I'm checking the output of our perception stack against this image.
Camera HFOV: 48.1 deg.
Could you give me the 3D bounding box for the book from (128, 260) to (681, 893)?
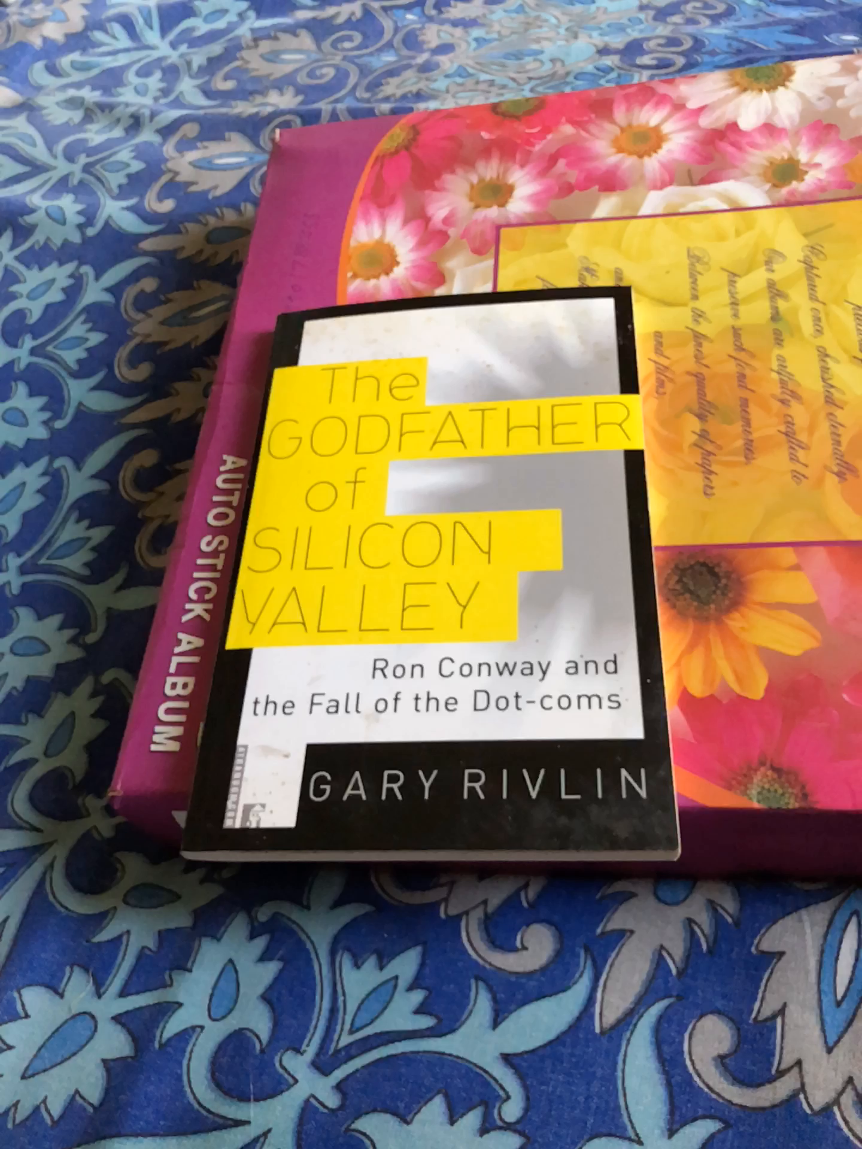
[{"bbox_3d":[-0.003,-0.013,0.320,0.150,0.020,0.221,-1,61,9],"label":"book"}]
